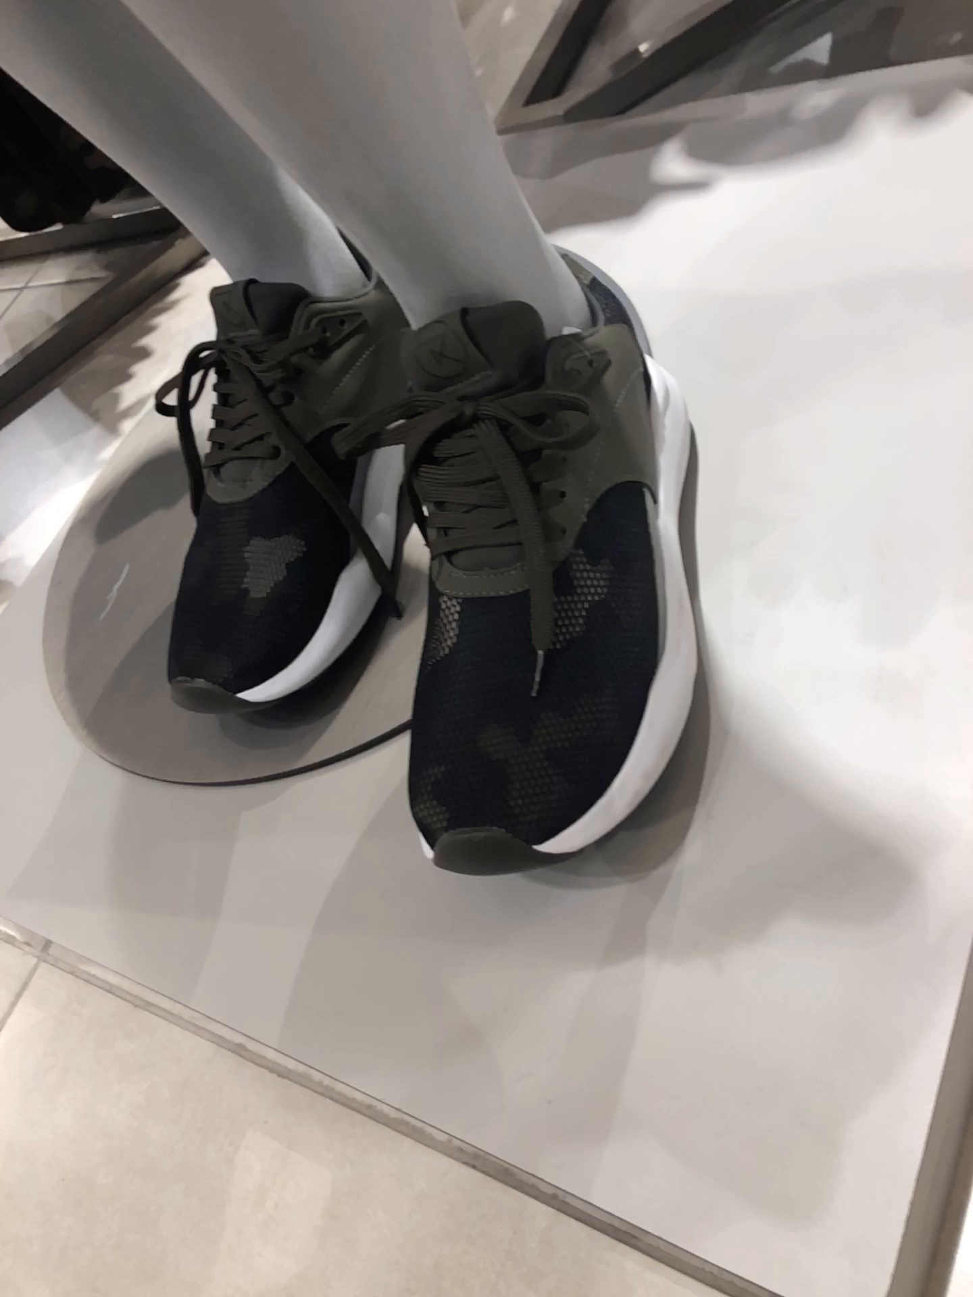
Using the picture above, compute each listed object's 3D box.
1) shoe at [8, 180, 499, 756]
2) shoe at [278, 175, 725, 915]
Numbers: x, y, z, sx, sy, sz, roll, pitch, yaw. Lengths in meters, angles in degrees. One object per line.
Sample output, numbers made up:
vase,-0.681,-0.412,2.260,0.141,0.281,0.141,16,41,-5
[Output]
shoe,-0.100,-0.093,0.543,0.100,0.119,0.261,2,58,31
shoe,0.025,-0.047,0.439,0.110,0.109,0.281,-8,53,25
